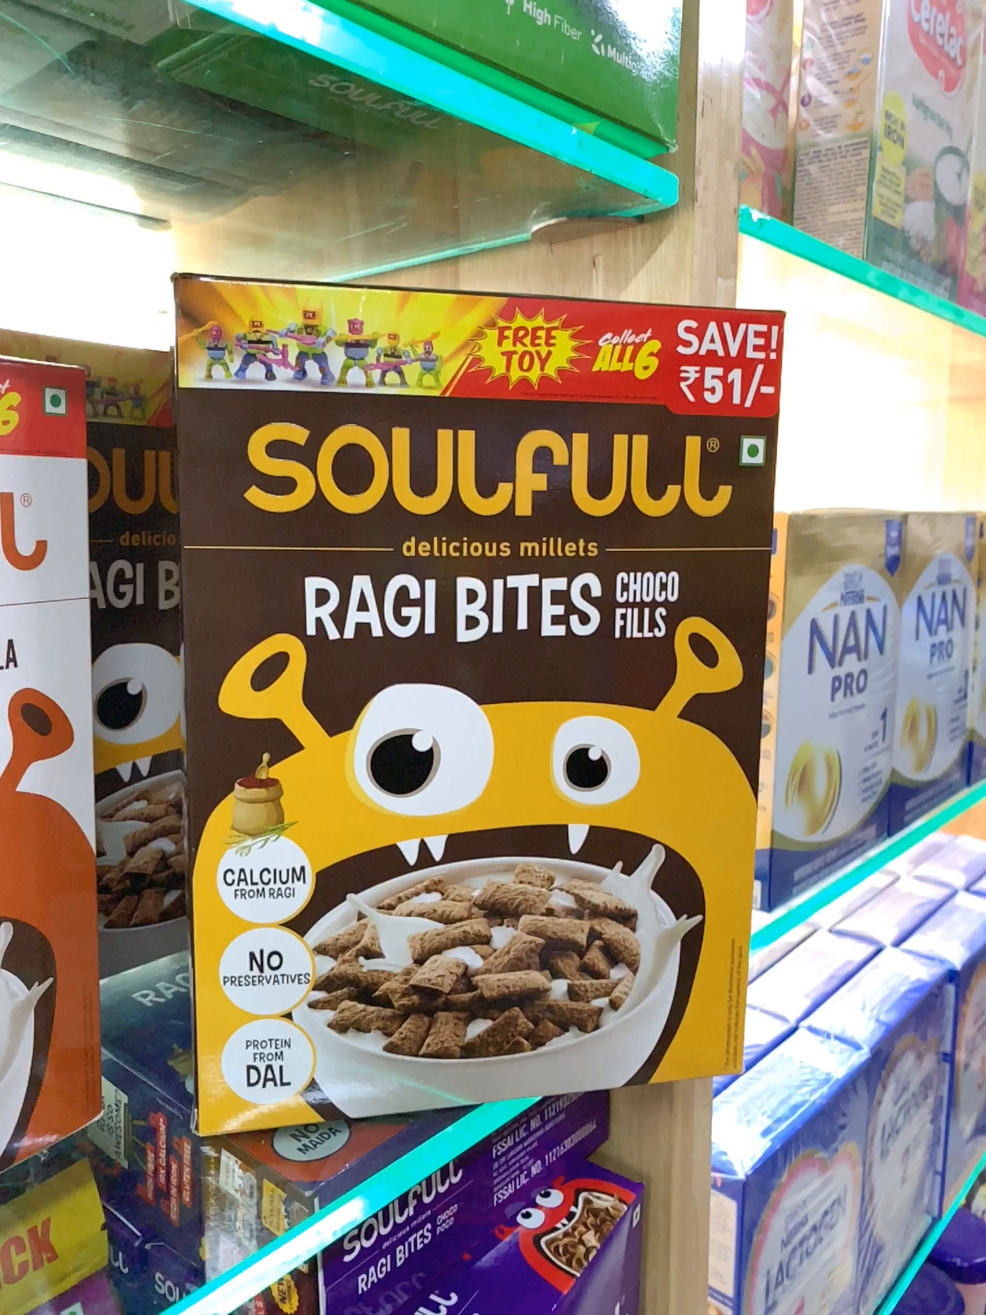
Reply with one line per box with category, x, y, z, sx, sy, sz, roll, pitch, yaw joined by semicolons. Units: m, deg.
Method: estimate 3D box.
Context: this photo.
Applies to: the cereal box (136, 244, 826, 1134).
cereal box;-0.005;0.009;0.321;0.190;0.239;0.060;-1;8;-13
